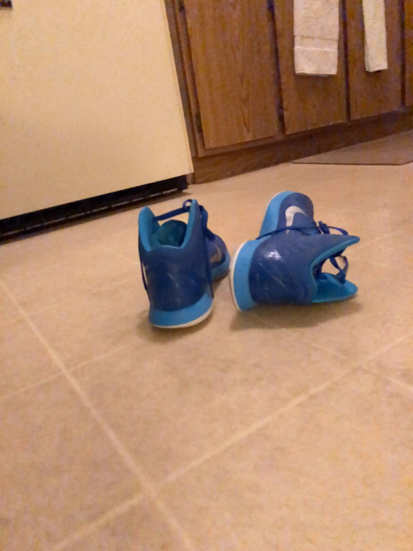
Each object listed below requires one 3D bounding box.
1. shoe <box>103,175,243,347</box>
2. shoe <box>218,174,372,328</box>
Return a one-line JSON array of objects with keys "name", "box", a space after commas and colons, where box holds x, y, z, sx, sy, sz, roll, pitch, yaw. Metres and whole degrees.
[{"name": "shoe", "box": [-0.025, -0.042, 0.663, 0.120, 0.144, 0.311, -6, 20, 10]}, {"name": "shoe", "box": [0.140, -0.054, 0.631, 0.159, 0.119, 0.282, 3, 23, 20]}]
